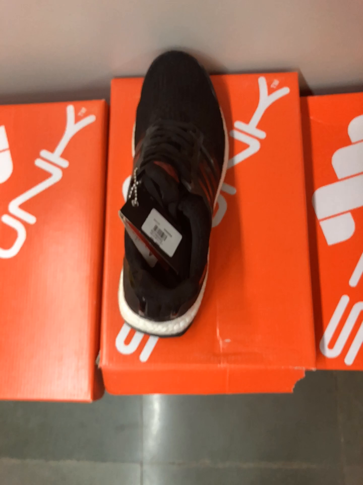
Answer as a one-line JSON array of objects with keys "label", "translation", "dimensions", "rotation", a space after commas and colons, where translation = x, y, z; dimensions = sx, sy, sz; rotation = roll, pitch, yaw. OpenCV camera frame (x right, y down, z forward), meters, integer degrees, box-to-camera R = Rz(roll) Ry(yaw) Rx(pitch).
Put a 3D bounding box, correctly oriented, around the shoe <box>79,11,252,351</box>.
[{"label": "shoe", "translation": [-0.007, -0.053, 0.402], "dimensions": [0.117, 0.120, 0.289], "rotation": [5, 80, 3]}]
